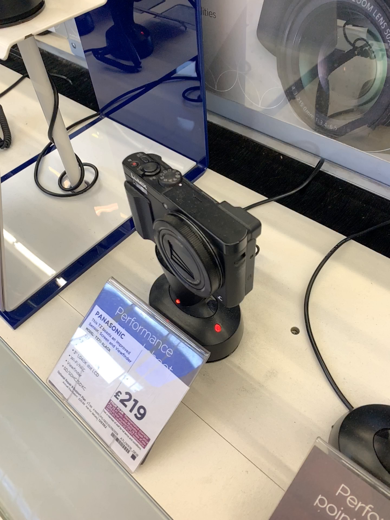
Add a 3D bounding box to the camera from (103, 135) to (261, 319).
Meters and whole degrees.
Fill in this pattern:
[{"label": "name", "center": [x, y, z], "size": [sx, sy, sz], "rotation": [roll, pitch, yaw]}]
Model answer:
[{"label": "camera", "center": [-0.010, -0.023, 0.264], "size": [0.030, 0.069, 0.111], "rotation": [-36, 57, -22]}]
